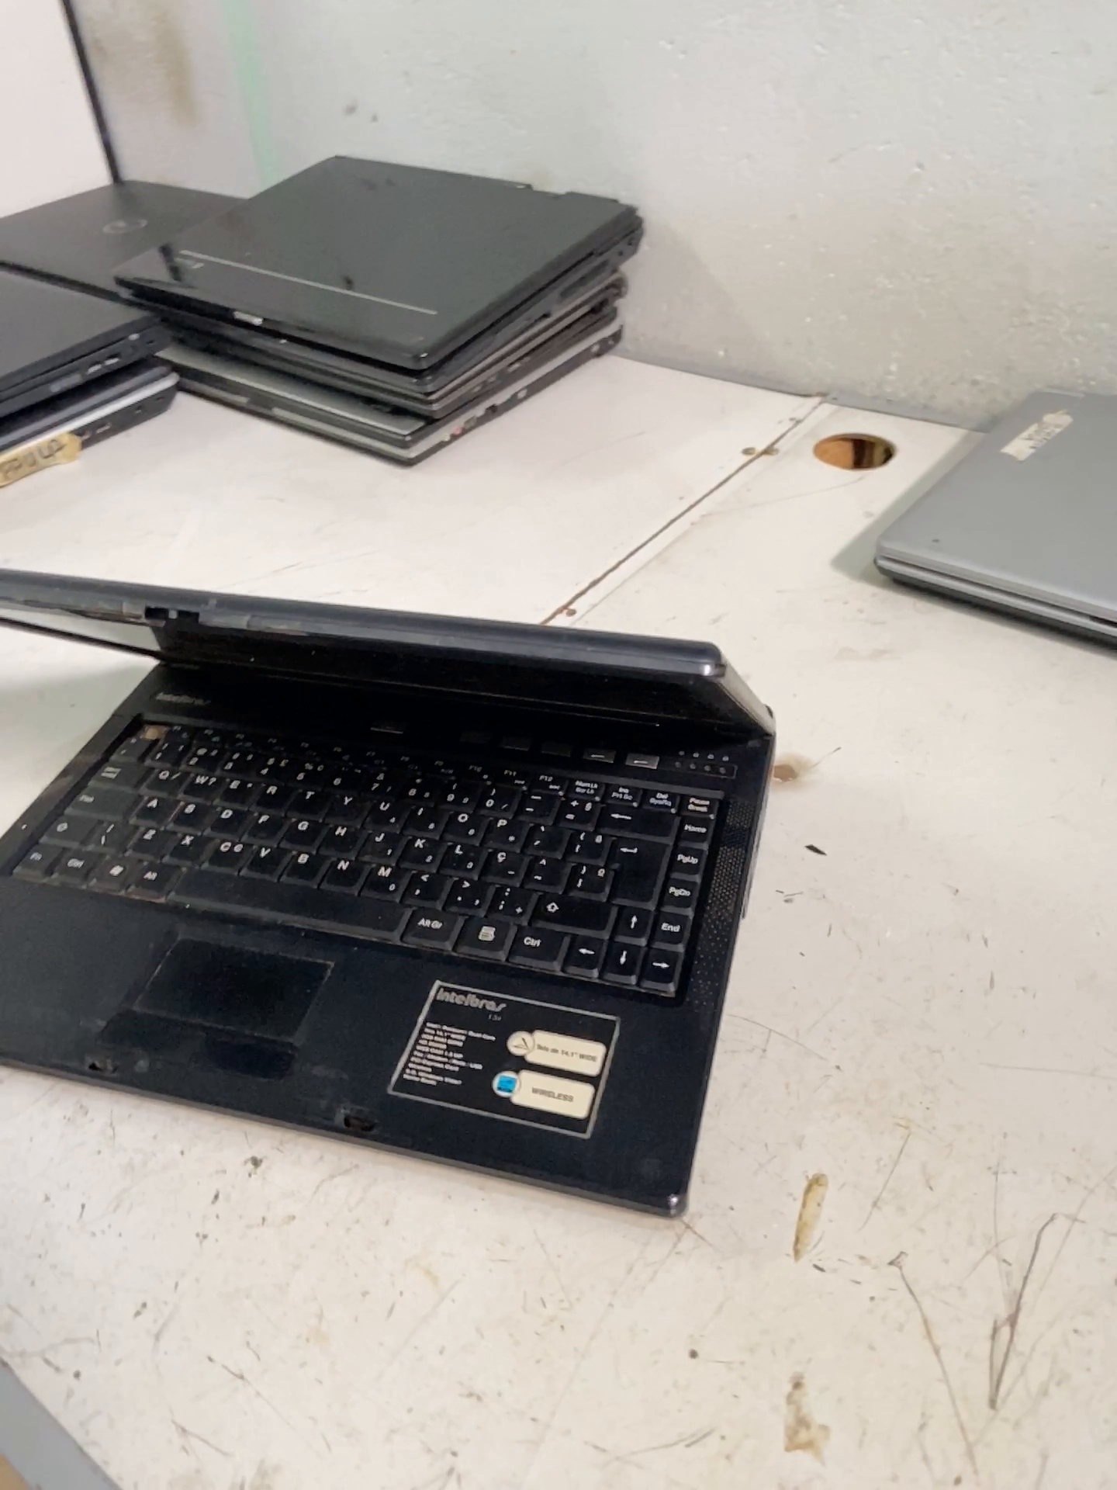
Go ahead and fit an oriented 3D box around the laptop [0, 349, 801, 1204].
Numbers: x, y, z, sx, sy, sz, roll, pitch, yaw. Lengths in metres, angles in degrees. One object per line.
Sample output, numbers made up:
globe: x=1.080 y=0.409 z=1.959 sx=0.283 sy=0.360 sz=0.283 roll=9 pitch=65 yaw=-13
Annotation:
laptop: x=-0.093 y=-0.014 z=0.435 sx=0.324 sy=0.168 sz=0.237 roll=7 pitch=41 yaw=14
